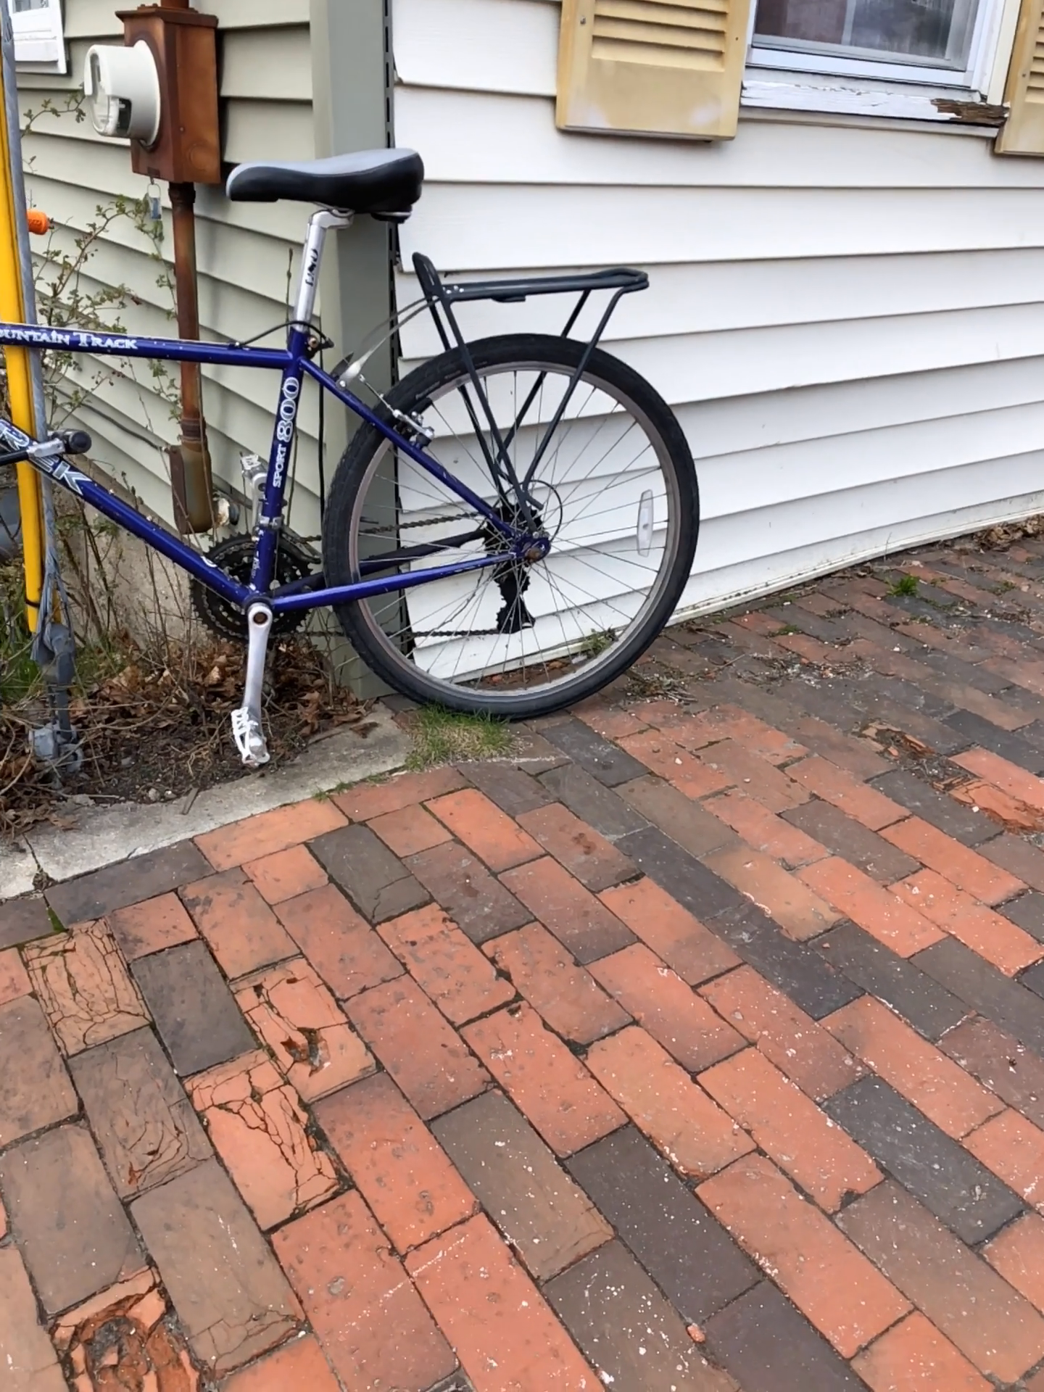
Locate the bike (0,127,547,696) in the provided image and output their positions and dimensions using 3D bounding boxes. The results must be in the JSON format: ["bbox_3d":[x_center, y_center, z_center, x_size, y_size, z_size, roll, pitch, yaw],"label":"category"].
[{"bbox_3d":[-0.642,-0.432,1.682,1.146,0.690,0.515,0,27,-5],"label":"bike"}]
